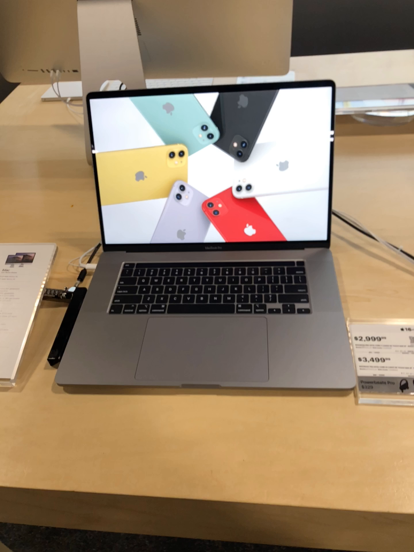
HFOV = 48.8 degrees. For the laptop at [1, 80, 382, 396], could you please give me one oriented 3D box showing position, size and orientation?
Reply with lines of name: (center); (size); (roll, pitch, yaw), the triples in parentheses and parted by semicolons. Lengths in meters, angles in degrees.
laptop: (-0.006, -0.071, 0.587); (0.336, 0.204, 0.350); (0, 44, 8)
